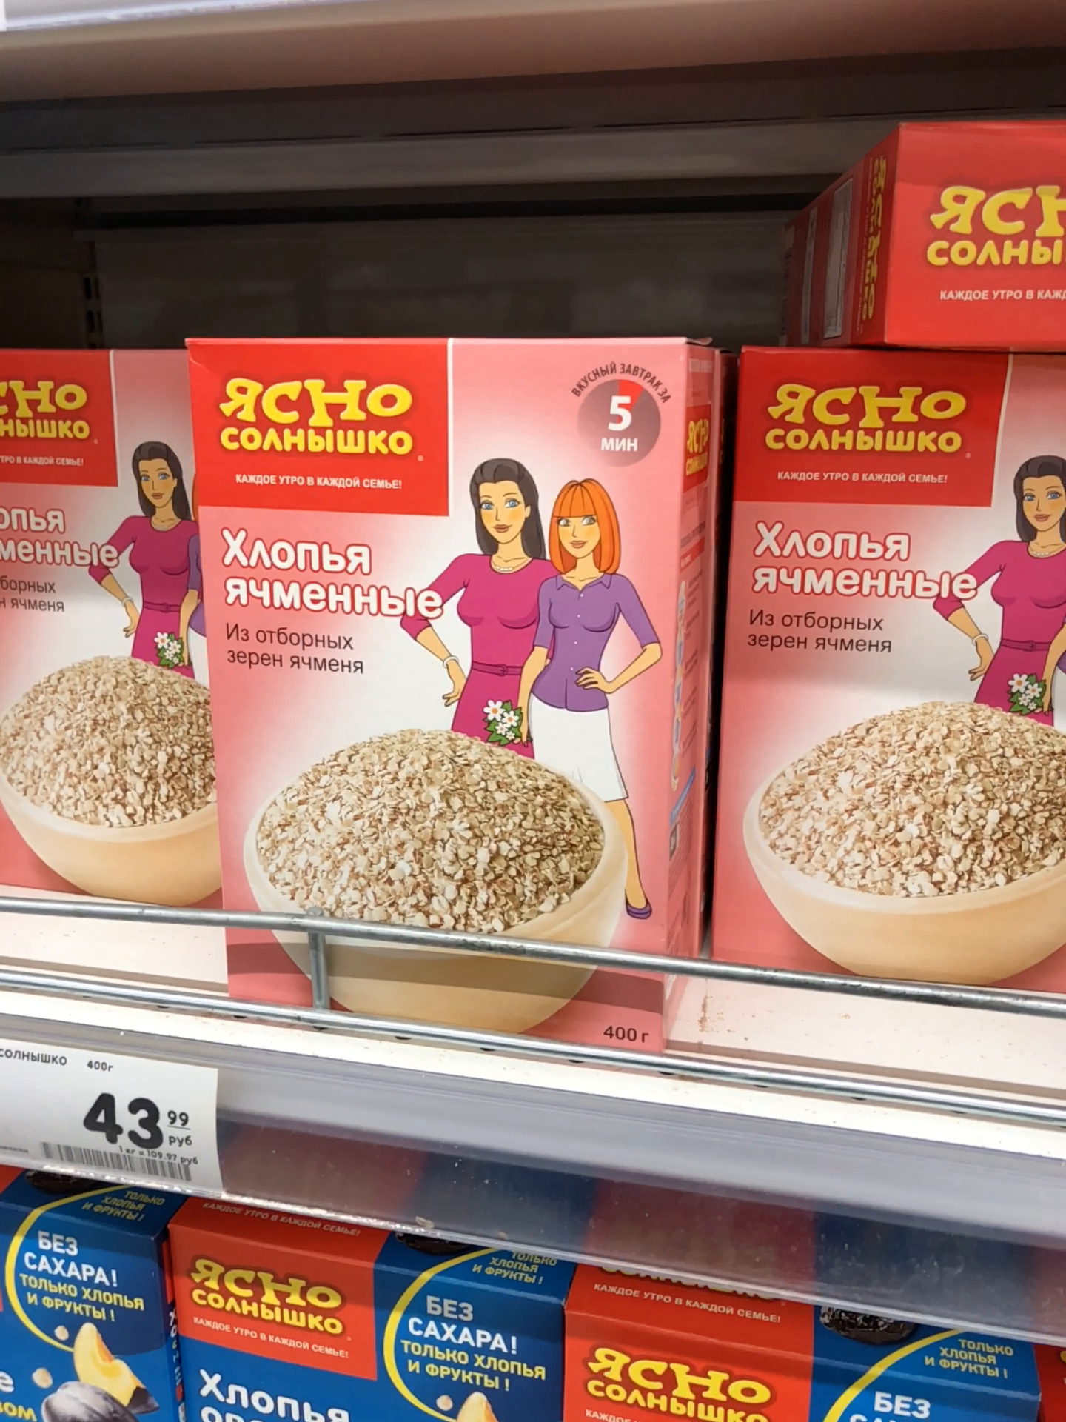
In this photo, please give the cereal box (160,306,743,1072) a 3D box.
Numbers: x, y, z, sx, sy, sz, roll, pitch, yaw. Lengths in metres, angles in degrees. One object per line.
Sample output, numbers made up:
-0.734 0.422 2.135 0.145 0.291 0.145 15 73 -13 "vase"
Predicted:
-0.020 -0.009 0.325 0.140 0.189 0.050 4 15 15 "cereal box"
